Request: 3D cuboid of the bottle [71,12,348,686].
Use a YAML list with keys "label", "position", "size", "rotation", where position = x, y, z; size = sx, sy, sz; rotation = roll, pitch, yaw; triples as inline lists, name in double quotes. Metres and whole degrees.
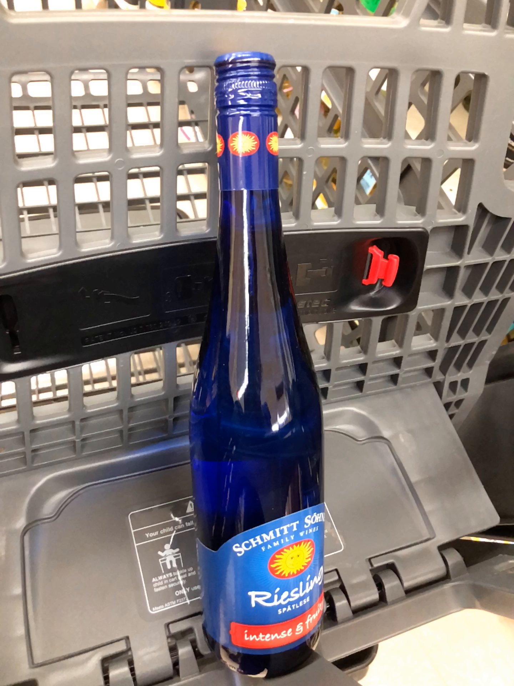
- label: "bottle"
  position: [-0.021, 0.025, 0.324]
  size: [0.100, 0.100, 0.350]
  rotation: [-11, 108, -23]
